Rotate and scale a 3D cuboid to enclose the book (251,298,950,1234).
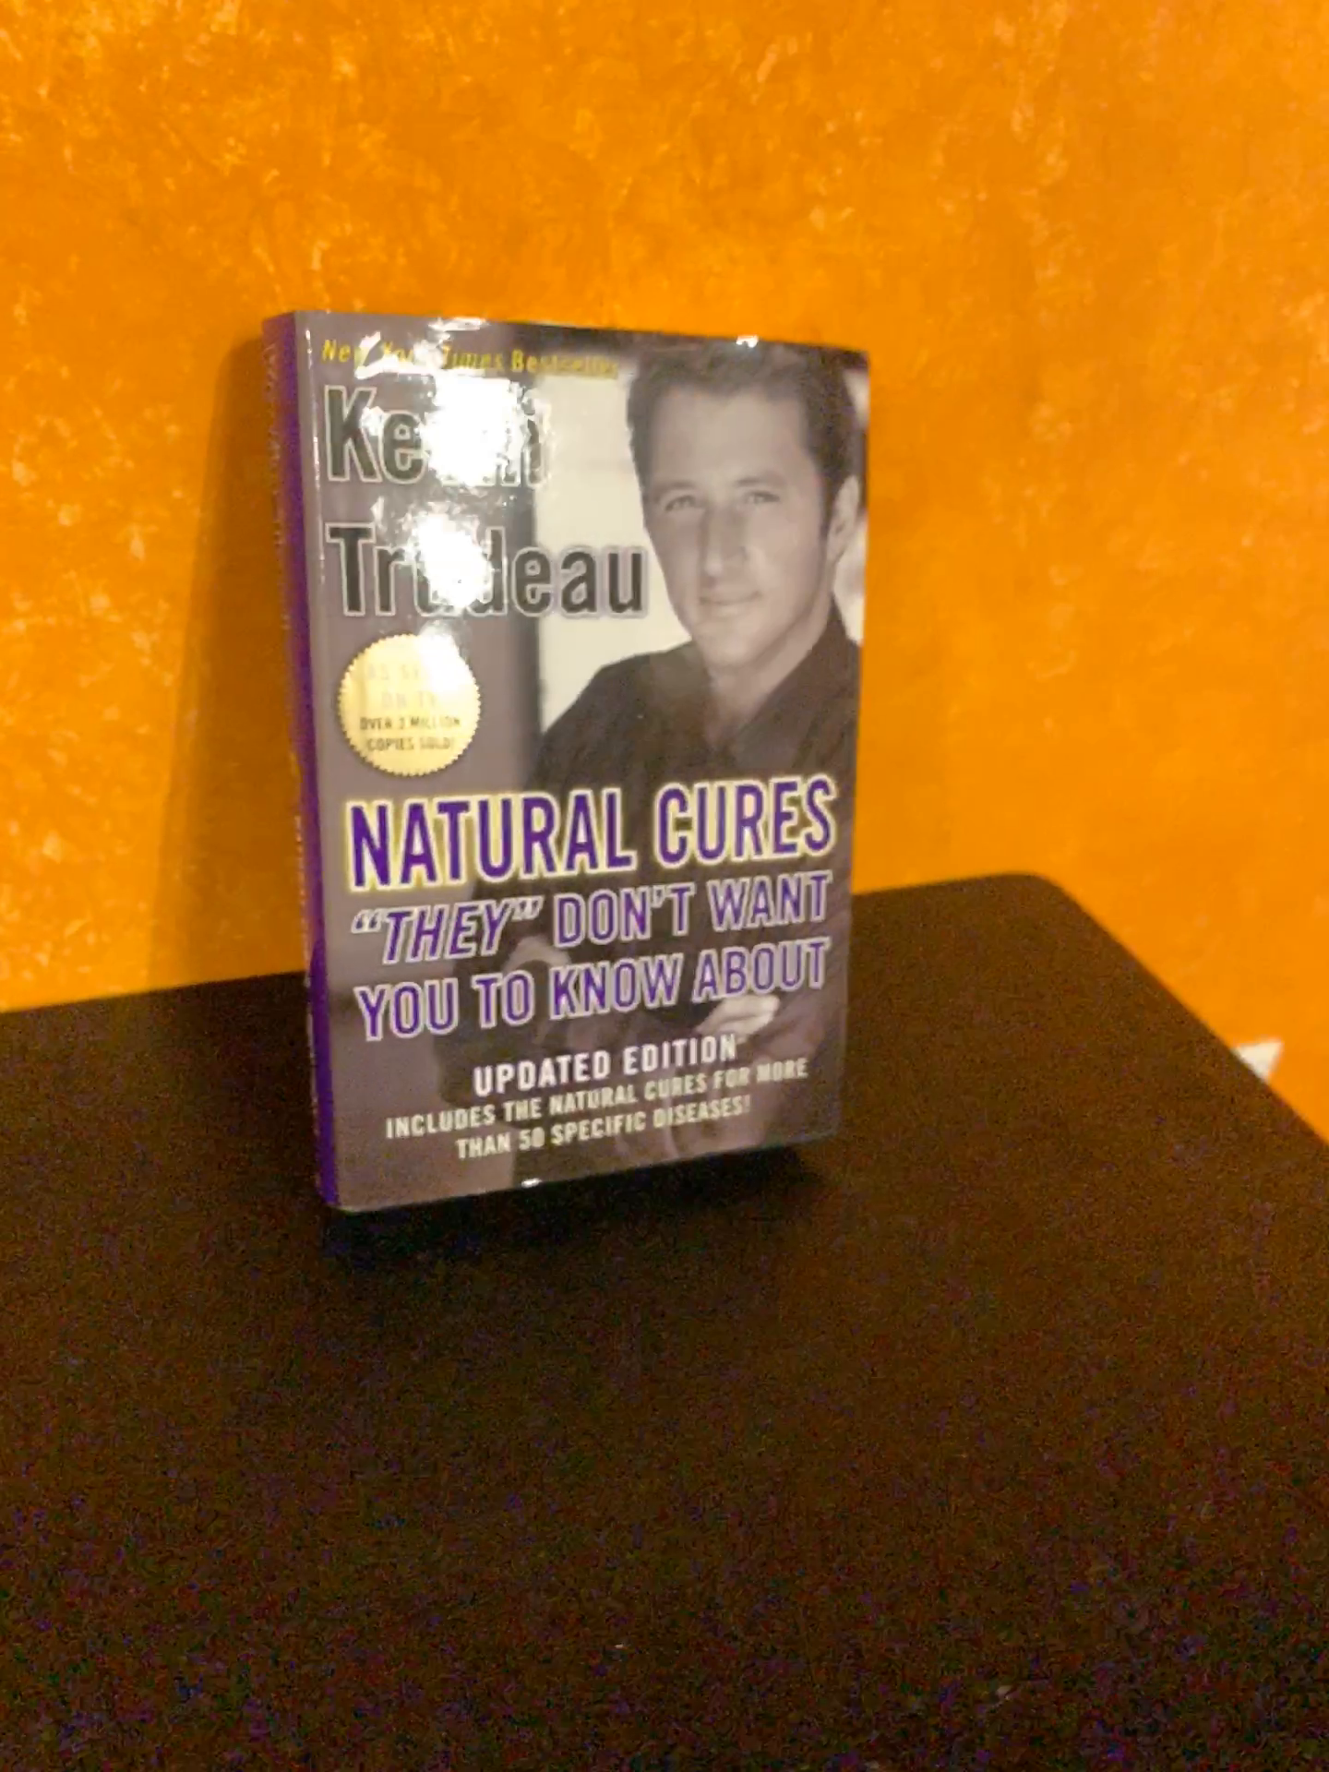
[{"bbox_3d":[-0.014,-0.034,0.392,0.180,0.229,0.050,-5,13,-21],"label":"book"}]
